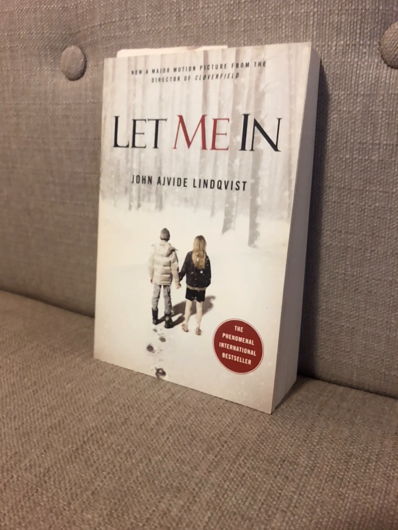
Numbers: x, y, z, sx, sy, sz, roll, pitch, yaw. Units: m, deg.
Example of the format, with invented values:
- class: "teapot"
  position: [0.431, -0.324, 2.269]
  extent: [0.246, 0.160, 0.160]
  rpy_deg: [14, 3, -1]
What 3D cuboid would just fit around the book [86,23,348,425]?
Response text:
- class: "book"
  position: [0.003, -0.029, 0.292]
  extent: [0.147, 0.216, 0.043]
  rpy_deg: [10, 8, 28]
